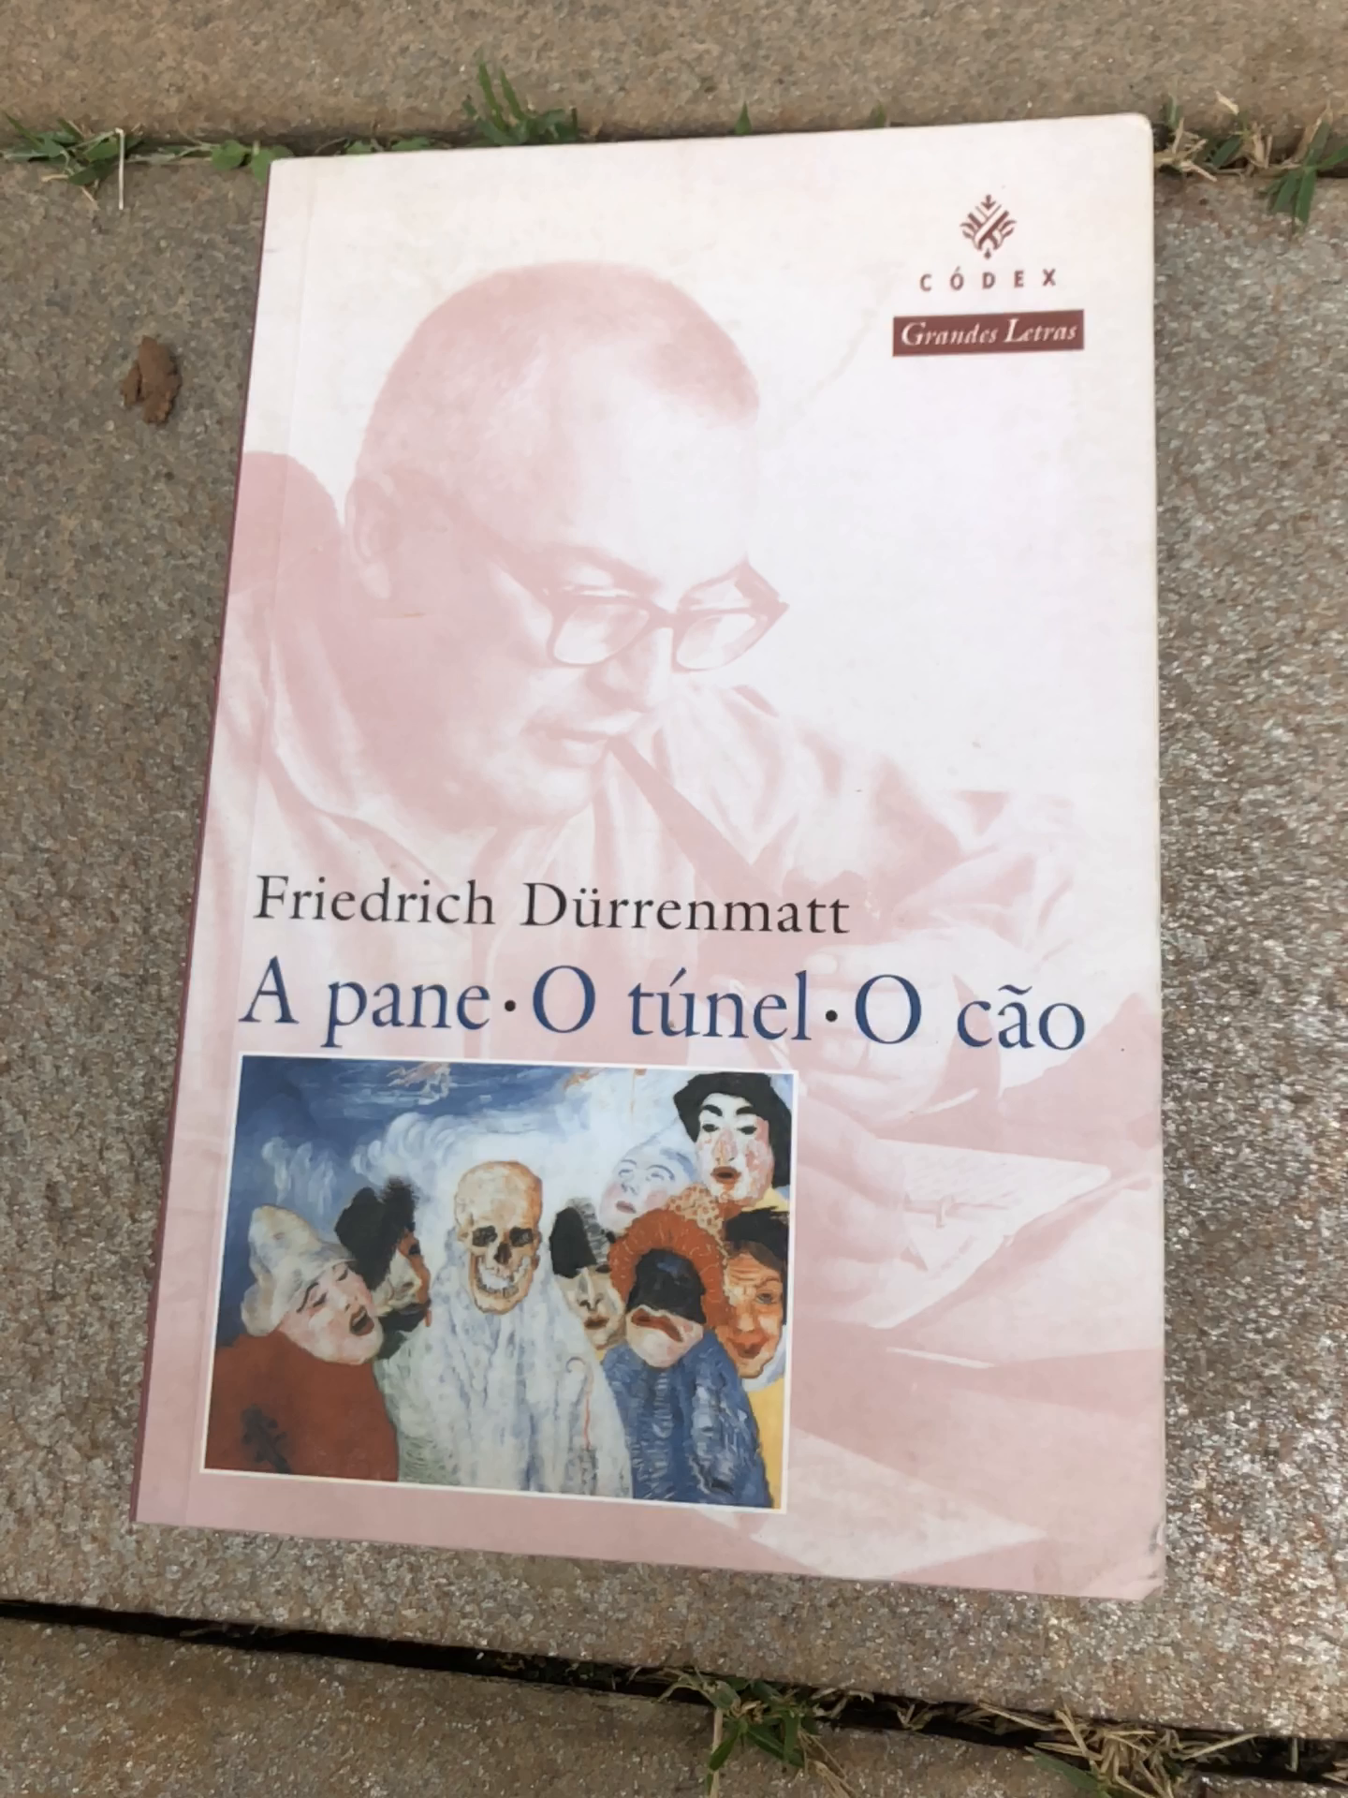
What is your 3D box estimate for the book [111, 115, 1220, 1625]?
[{"bbox_3d":[0.001,-0.012,0.212,0.140,0.015,0.199,1,81,7],"label":"book"}]
